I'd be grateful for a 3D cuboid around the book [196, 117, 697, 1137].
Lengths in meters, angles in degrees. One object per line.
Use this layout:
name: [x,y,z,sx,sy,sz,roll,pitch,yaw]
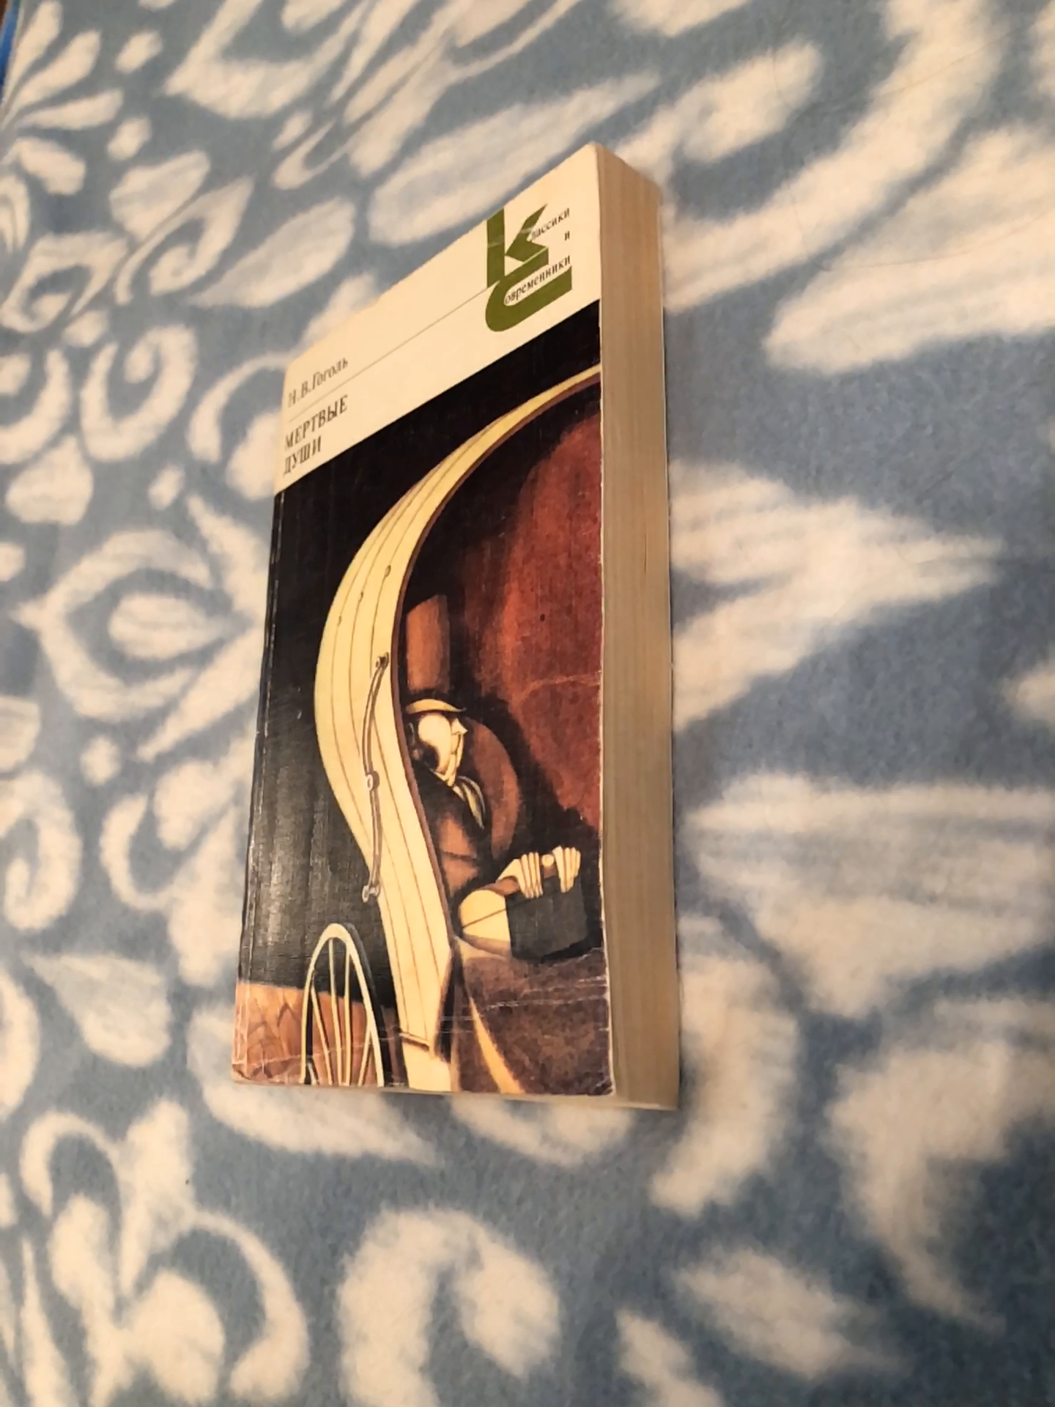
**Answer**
book: [-0.023,-0.012,0.265,0.126,0.025,0.199,-16,66,43]
